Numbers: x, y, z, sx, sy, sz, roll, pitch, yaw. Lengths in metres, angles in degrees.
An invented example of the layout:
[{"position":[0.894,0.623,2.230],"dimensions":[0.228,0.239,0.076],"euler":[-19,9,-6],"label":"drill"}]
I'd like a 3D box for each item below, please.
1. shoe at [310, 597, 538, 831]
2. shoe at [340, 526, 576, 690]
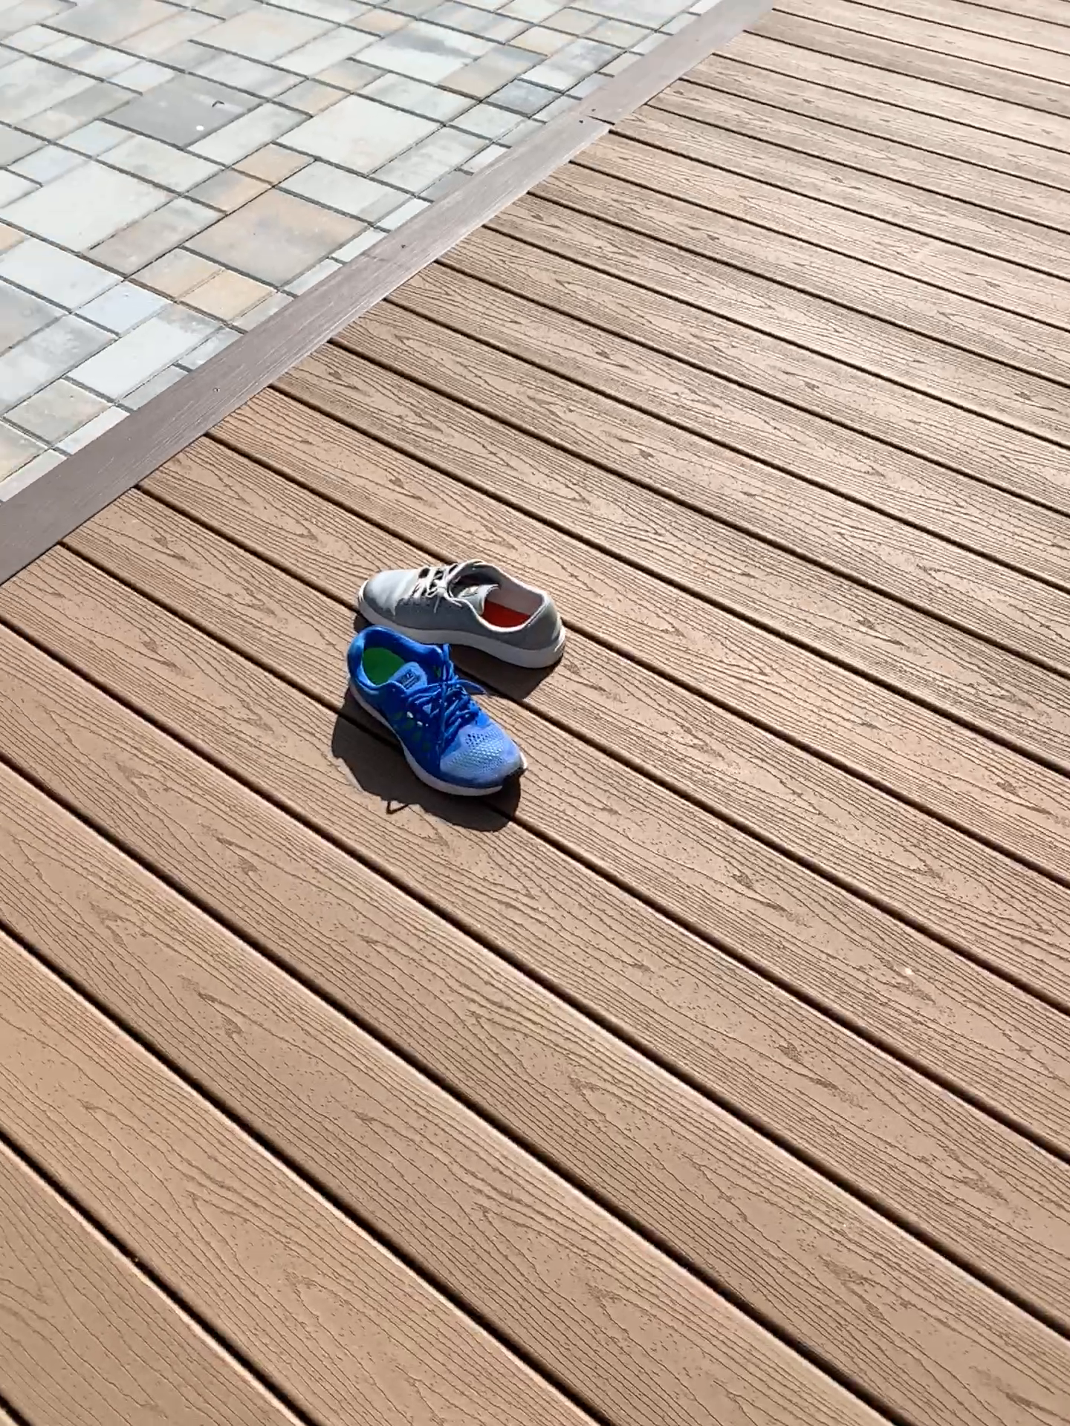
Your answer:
[{"position":[-0.132,-0.004,1.290],"dimensions":[0.110,0.090,0.281],"euler":[-36,60,-24],"label":"shoe"},{"position":[-0.097,-0.140,1.435],"dimensions":[0.280,0.110,0.110],"euler":[15,55,12],"label":"shoe"}]
